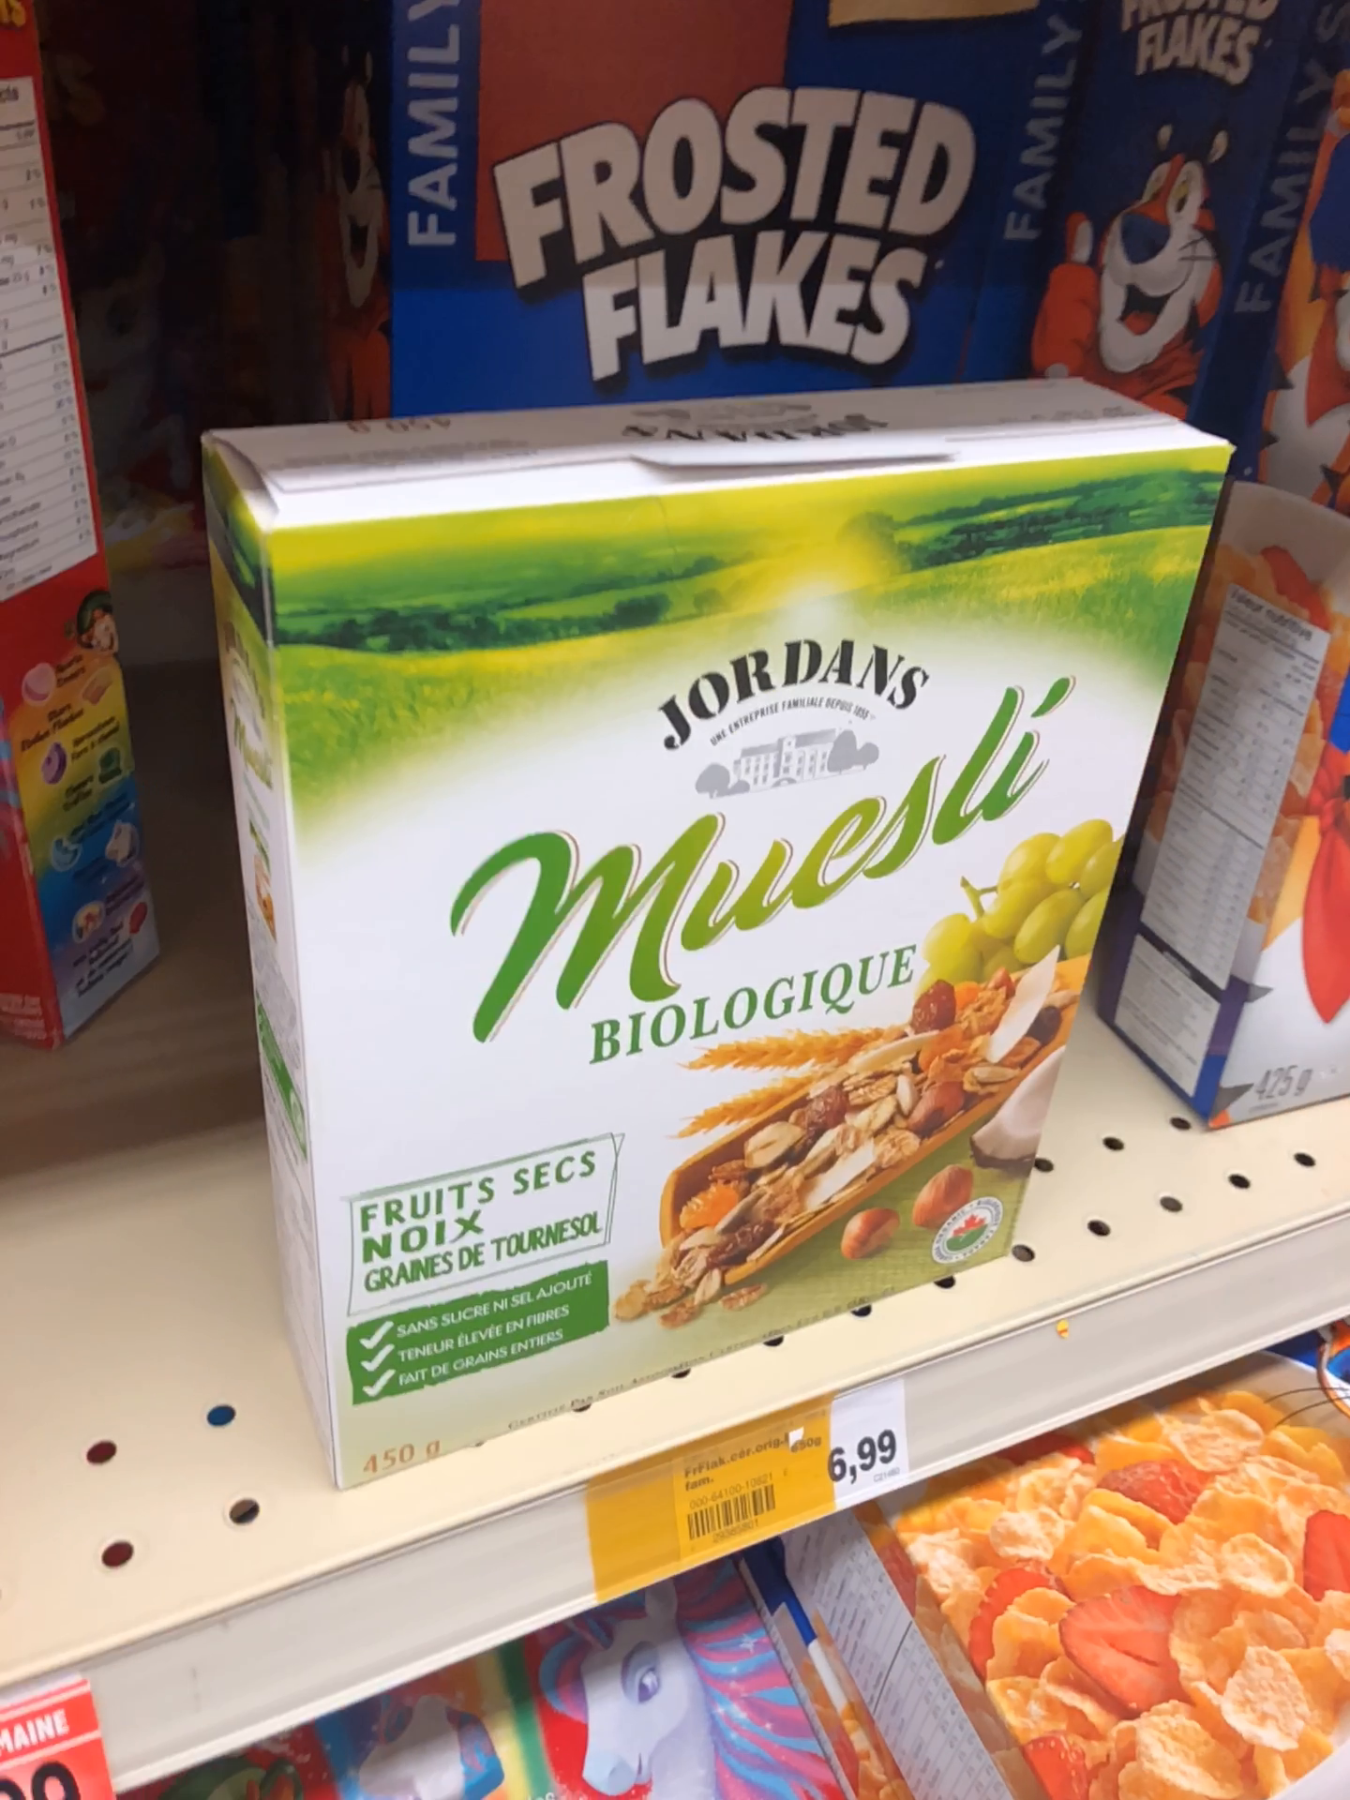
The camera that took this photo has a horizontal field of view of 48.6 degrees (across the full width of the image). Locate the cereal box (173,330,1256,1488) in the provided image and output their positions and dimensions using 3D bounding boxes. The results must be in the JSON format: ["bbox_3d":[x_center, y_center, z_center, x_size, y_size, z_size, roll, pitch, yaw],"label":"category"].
[{"bbox_3d":[0.004,0.004,0.312,0.180,0.218,0.050,-12,37,-24],"label":"cereal box"}]
